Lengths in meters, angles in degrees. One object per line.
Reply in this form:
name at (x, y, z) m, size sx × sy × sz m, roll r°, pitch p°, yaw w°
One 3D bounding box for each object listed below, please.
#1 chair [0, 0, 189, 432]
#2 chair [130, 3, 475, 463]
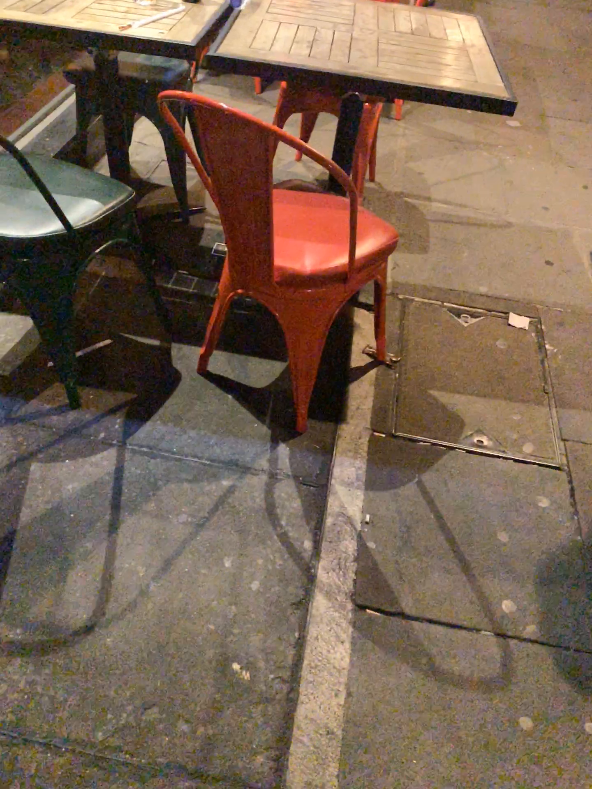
chair at (-0.589, -0.420, 1.395) m, size 0.431 × 0.832 × 0.514 m, roll 29°, pitch 55°, yaw 13°
chair at (0.006, -0.356, 1.415) m, size 0.431 × 0.812 × 0.513 m, roll 30°, pitch 51°, yaw 21°
